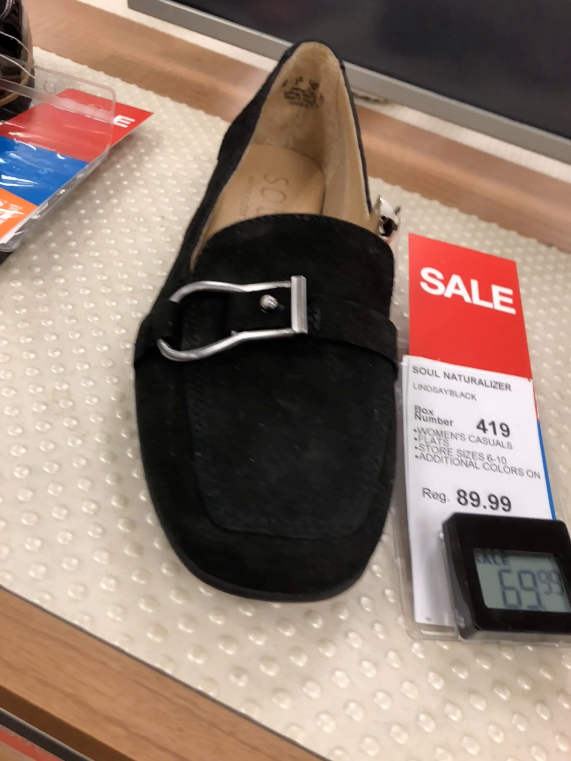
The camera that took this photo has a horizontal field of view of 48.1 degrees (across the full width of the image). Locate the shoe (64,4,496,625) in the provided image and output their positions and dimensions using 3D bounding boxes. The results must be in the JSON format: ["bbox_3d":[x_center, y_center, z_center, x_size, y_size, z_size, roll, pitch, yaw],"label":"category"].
[{"bbox_3d":[-0.006,-0.050,0.229,0.080,0.079,0.239,9,44,-7],"label":"shoe"}]
